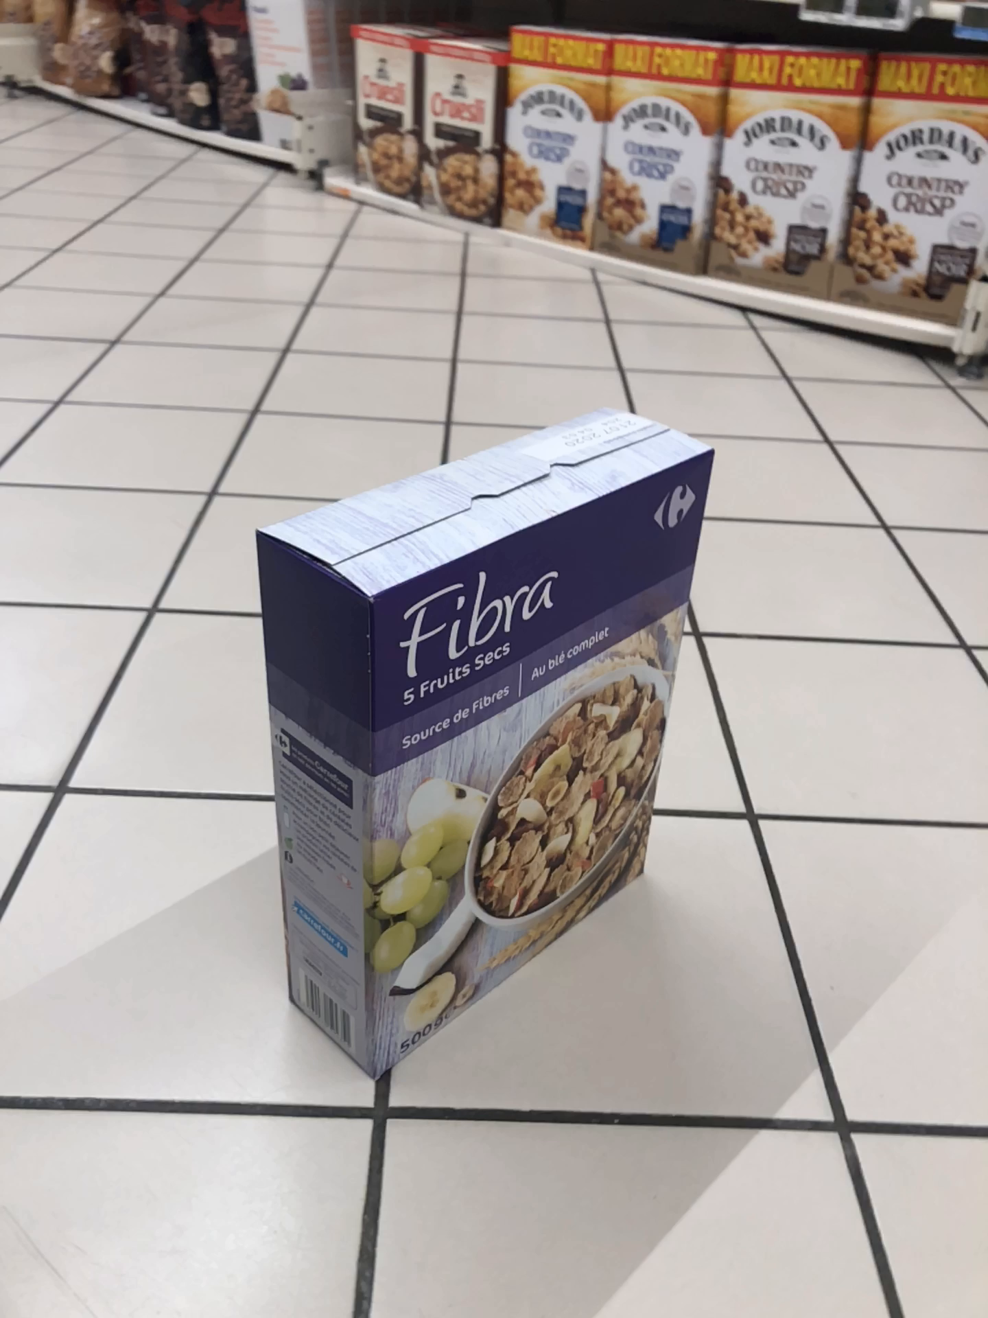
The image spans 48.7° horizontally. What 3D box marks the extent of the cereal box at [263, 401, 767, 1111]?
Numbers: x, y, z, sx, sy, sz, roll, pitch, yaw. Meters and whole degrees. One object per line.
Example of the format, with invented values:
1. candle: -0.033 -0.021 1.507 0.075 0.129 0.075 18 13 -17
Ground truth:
1. cereal box: 0.011 0.039 0.506 0.080 0.258 0.211 30 41 34
